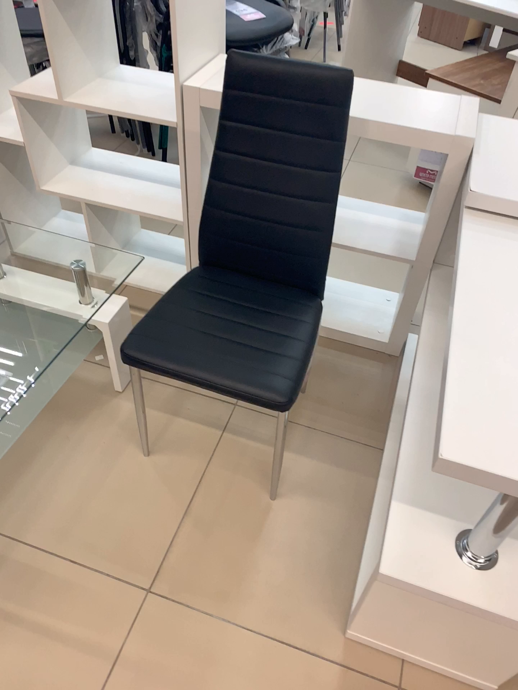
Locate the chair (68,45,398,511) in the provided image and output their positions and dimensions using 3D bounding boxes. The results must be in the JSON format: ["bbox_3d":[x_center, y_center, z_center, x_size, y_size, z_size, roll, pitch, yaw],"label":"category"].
[{"bbox_3d":[-0.020,-0.143,1.335,0.440,0.916,0.602,16,45,13],"label":"chair"}]
